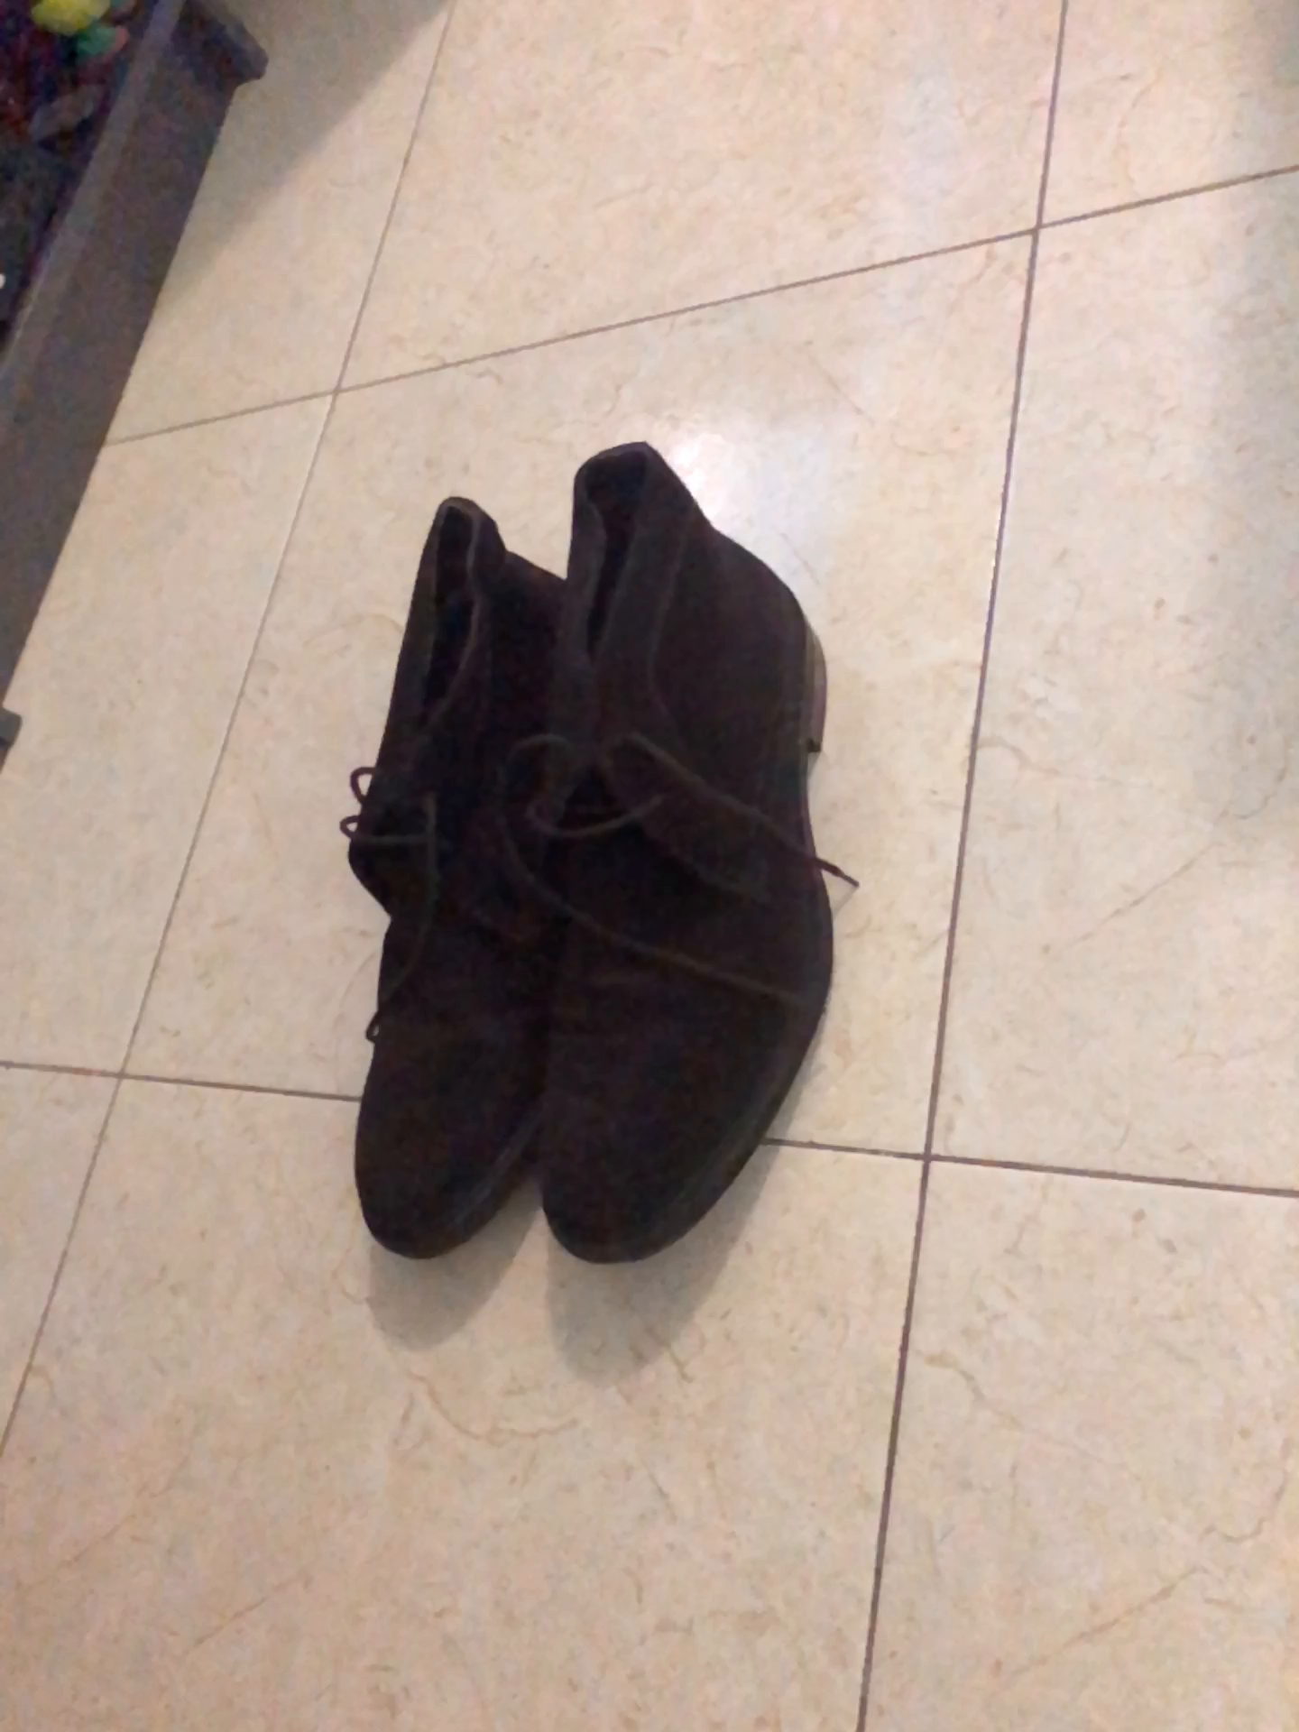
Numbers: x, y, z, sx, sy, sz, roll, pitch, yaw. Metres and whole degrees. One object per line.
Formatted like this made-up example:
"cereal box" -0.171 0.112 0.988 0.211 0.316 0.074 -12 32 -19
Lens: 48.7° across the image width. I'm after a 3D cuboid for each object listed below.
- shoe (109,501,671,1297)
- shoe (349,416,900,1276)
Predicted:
"shoe" -0.098 0.014 0.618 0.110 0.129 0.300 0 68 31
"shoe" 0.004 -0.006 0.582 0.110 0.139 0.300 0 68 31
